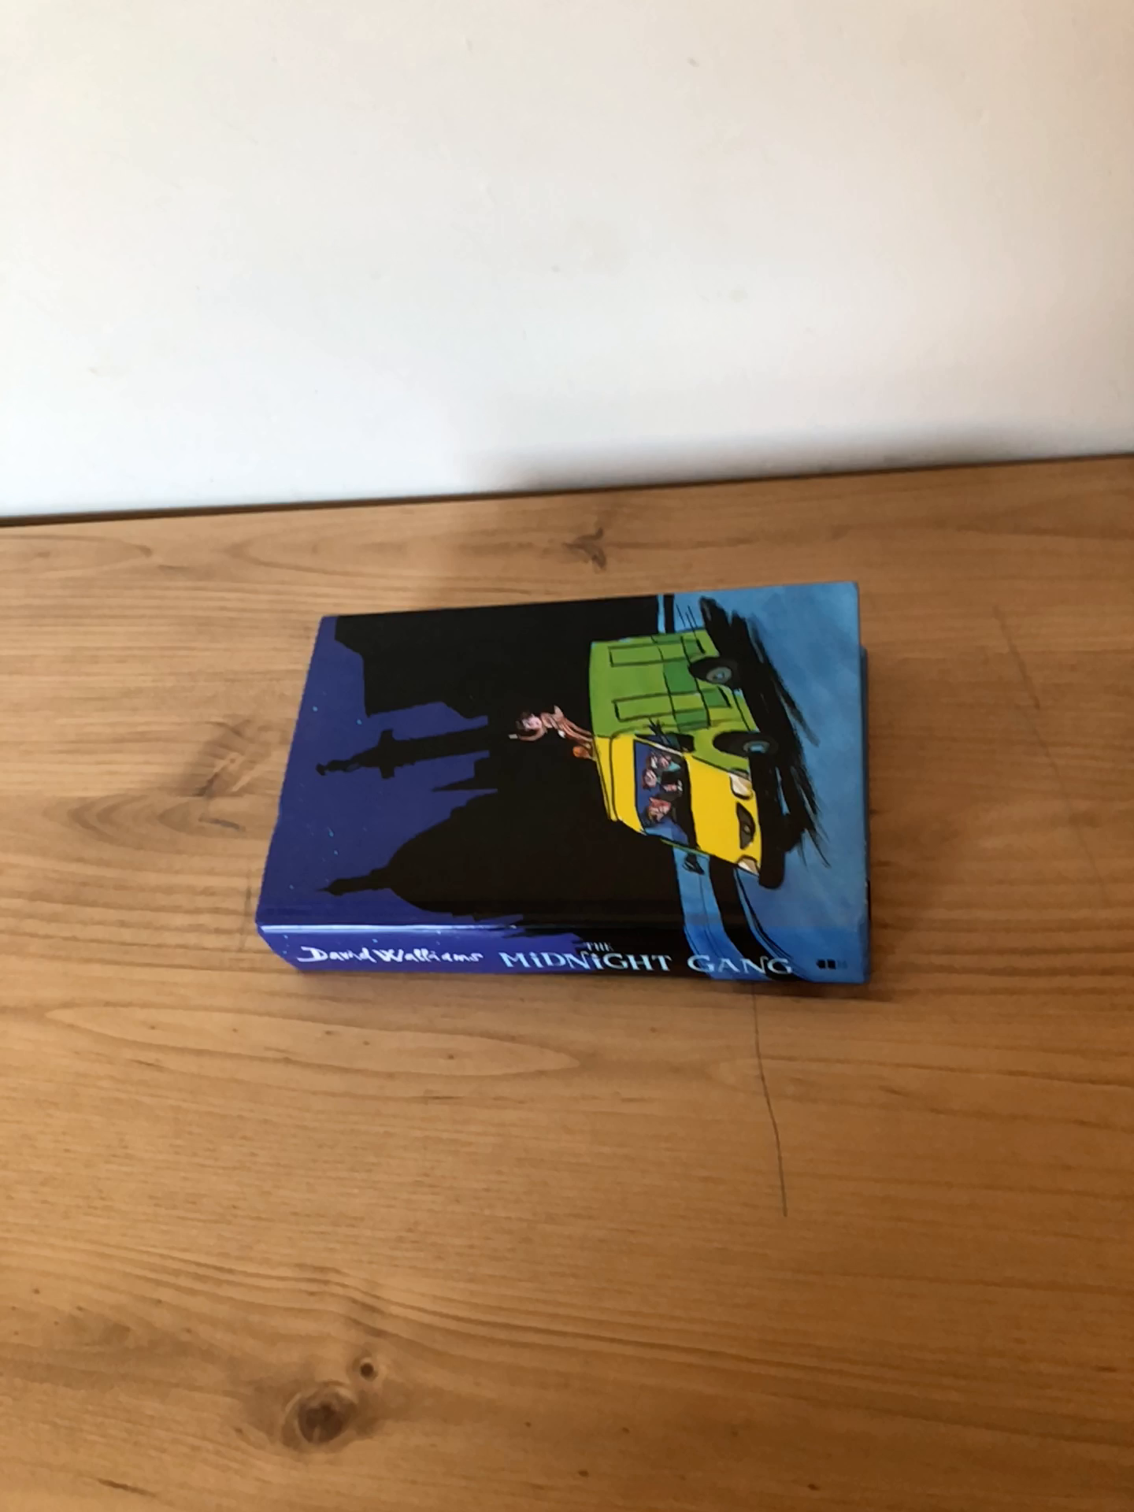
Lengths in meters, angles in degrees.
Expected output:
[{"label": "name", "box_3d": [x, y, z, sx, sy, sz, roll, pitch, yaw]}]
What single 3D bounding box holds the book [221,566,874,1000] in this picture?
[{"label": "book", "box_3d": [-0.002, 0.013, 0.504, 0.237, 0.060, 0.153, -2, 61, 15]}]
